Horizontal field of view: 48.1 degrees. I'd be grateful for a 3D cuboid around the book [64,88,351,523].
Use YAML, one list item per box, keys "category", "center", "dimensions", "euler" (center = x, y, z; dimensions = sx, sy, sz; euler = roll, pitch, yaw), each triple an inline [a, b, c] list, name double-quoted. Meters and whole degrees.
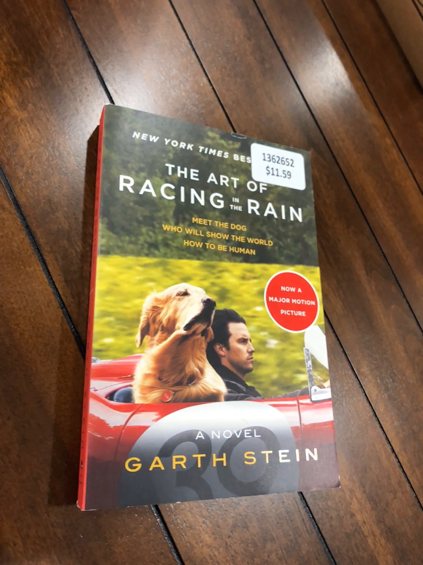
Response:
- category: "book"
  center: [0.000, 0.008, 0.262]
  dimensions: [0.140, 0.028, 0.210]
  euler: [6, 71, -23]
